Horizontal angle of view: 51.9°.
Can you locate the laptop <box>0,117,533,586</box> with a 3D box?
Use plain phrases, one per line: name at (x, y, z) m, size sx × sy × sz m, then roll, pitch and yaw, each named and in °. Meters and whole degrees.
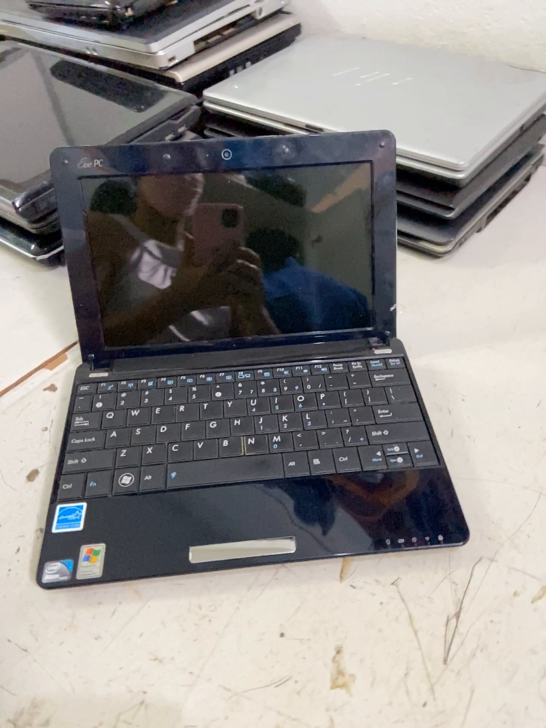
laptop at (-0.022, -0.030, 0.384) m, size 0.260 × 0.133 × 0.274 m, roll -5°, pitch 47°, yaw -2°
